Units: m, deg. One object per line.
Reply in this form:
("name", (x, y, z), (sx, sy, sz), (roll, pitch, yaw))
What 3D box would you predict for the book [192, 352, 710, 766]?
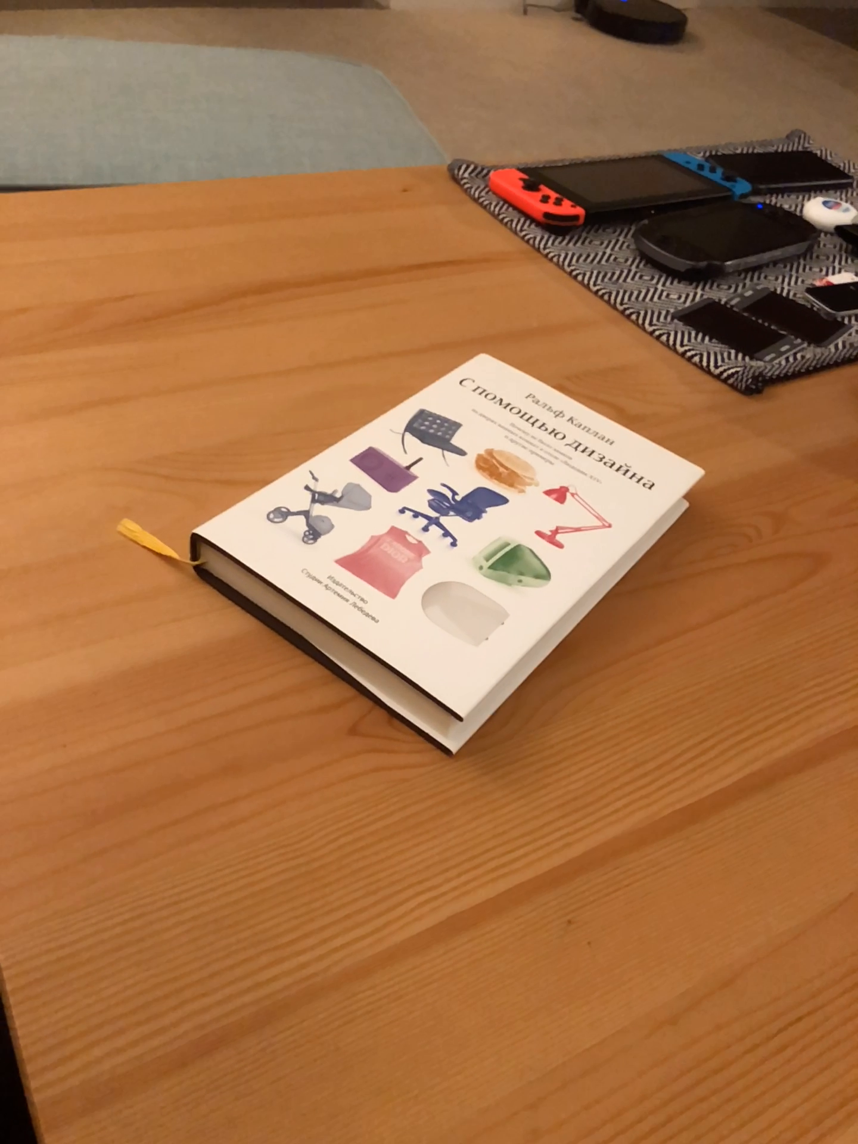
("book", (0.020, -0.026, 0.477), (0.152, 0.034, 0.227), (33, 47, 22))
